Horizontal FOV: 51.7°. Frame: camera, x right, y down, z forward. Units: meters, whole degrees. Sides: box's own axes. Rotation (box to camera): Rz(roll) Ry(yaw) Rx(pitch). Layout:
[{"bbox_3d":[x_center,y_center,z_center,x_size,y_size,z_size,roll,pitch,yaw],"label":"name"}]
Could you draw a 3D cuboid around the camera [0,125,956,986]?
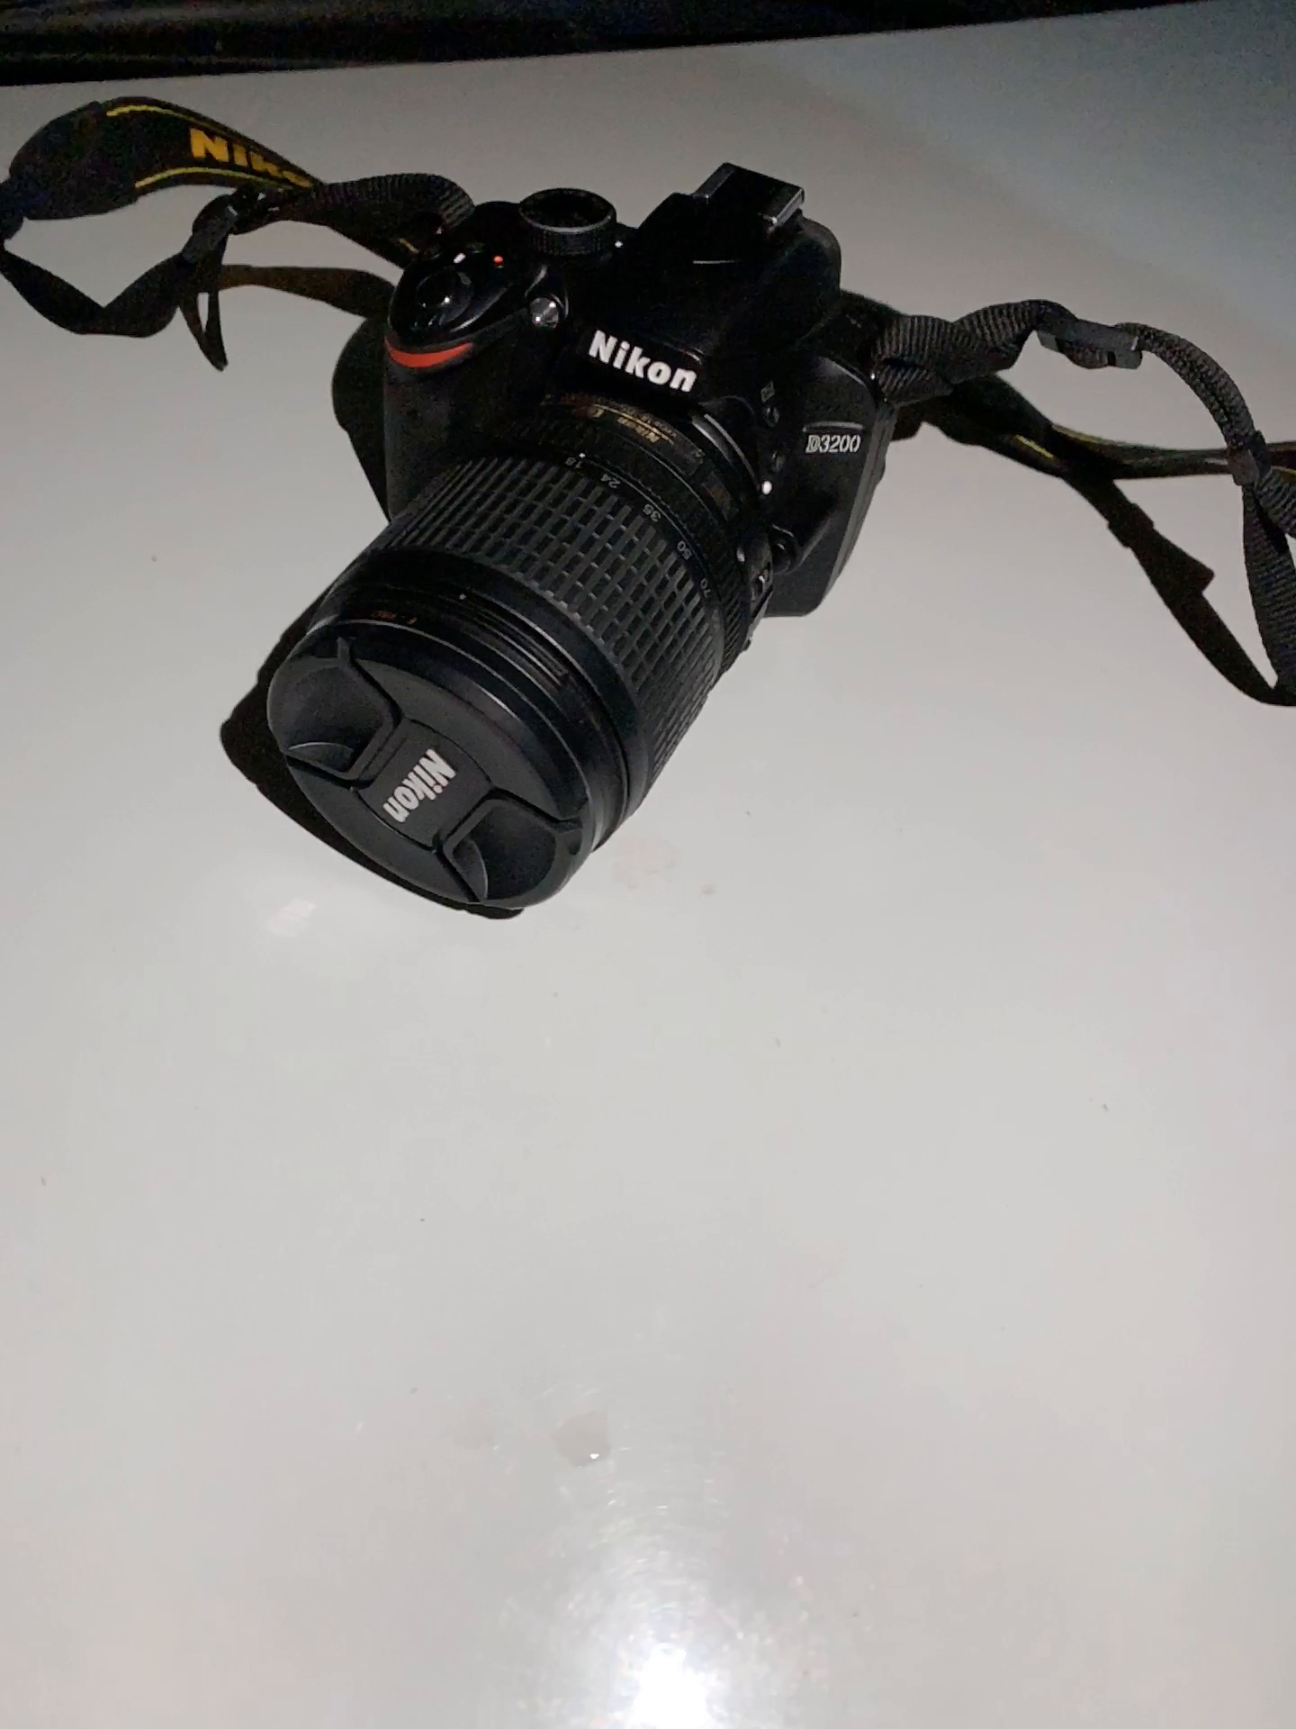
[{"bbox_3d":[-0.027,-0.092,0.324,0.126,0.099,0.201,21,46,20],"label":"camera"}]
